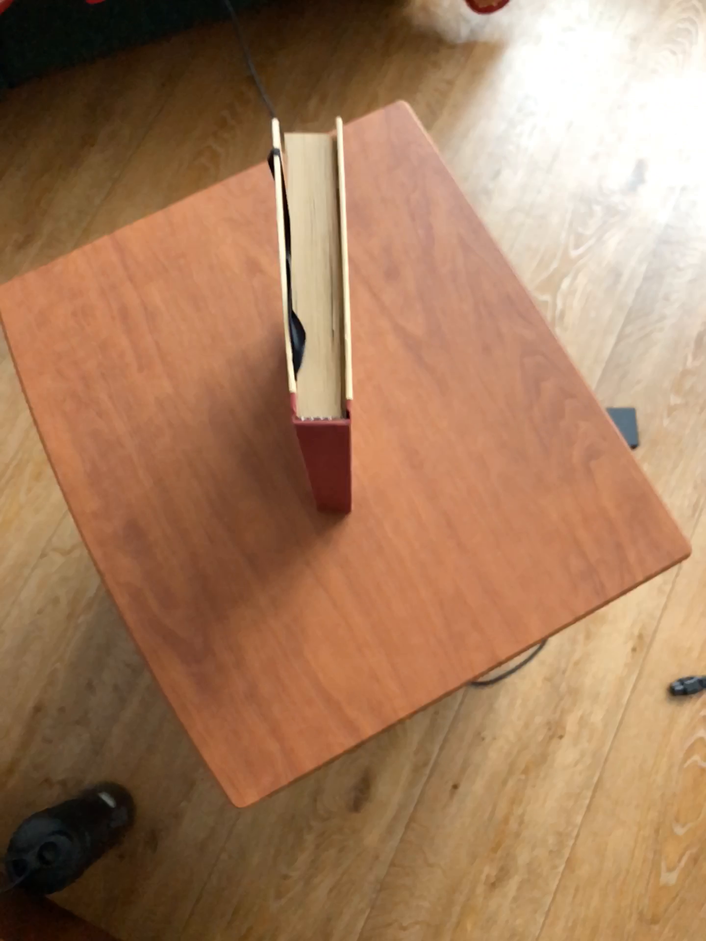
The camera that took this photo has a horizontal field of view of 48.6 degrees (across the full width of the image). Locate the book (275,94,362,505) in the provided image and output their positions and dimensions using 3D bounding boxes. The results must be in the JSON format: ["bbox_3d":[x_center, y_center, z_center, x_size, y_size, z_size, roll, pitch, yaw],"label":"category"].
[{"bbox_3d":[-0.017,-0.076,0.451,0.032,0.213,0.154,-3,77,-1],"label":"book"}]
